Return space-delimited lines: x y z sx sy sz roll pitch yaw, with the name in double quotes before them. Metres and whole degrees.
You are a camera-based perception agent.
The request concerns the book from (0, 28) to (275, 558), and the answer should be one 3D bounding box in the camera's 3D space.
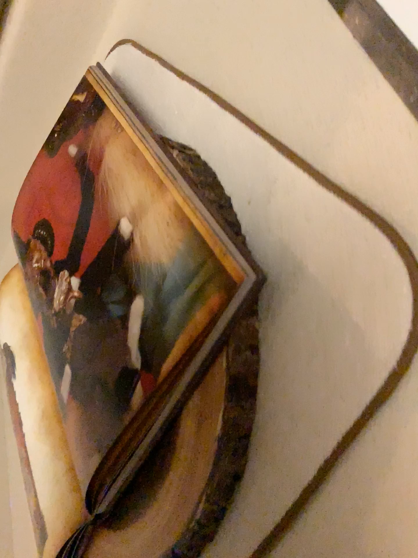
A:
"book" -0.155 0.069 0.429 0.340 0.040 0.470 56 130 40
